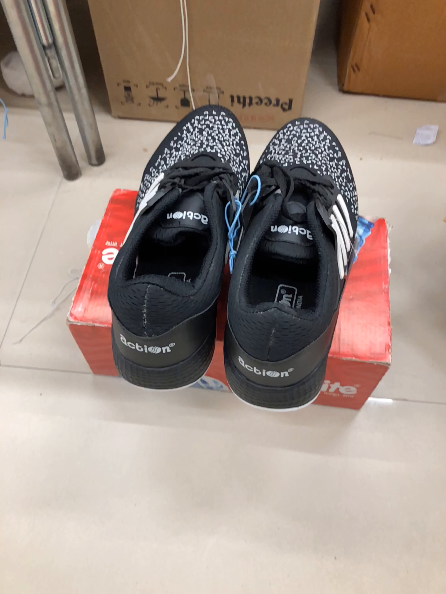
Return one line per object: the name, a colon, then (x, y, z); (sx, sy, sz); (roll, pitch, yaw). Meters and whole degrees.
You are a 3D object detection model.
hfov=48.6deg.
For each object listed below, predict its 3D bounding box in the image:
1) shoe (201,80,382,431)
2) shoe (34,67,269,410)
shoe: (0.062, -0.045, 0.404); (0.101, 0.102, 0.268); (10, 58, 6)
shoe: (-0.038, -0.060, 0.411); (0.111, 0.102, 0.268); (9, 58, 5)
